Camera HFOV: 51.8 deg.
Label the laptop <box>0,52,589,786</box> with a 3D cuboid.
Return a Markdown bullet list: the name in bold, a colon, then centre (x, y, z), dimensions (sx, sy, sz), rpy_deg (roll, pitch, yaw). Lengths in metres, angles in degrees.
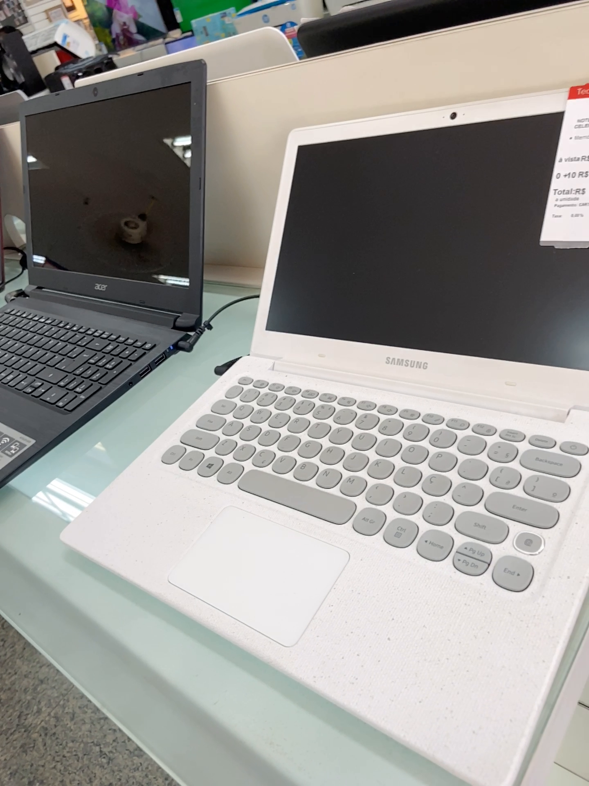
- **laptop**: centre (0.037, -0.044, 0.380), dimensions (0.315, 0.140, 0.361), rpy_deg (11, 47, 39)
